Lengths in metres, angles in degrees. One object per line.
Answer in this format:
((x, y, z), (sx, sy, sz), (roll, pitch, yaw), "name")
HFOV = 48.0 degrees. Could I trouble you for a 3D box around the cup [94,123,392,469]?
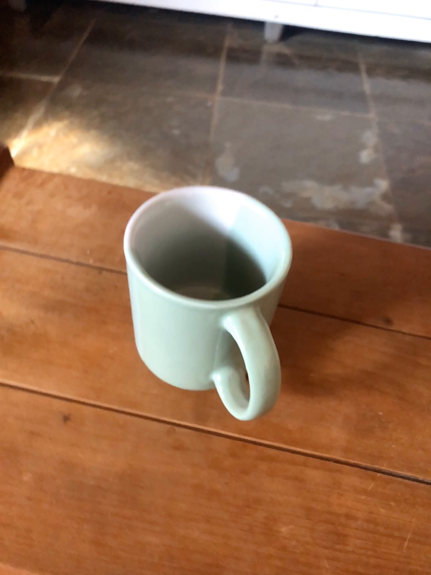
((0.002, -0.001, 0.243), (0.080, 0.089, 0.131), (-17, 55, -18), "cup")
